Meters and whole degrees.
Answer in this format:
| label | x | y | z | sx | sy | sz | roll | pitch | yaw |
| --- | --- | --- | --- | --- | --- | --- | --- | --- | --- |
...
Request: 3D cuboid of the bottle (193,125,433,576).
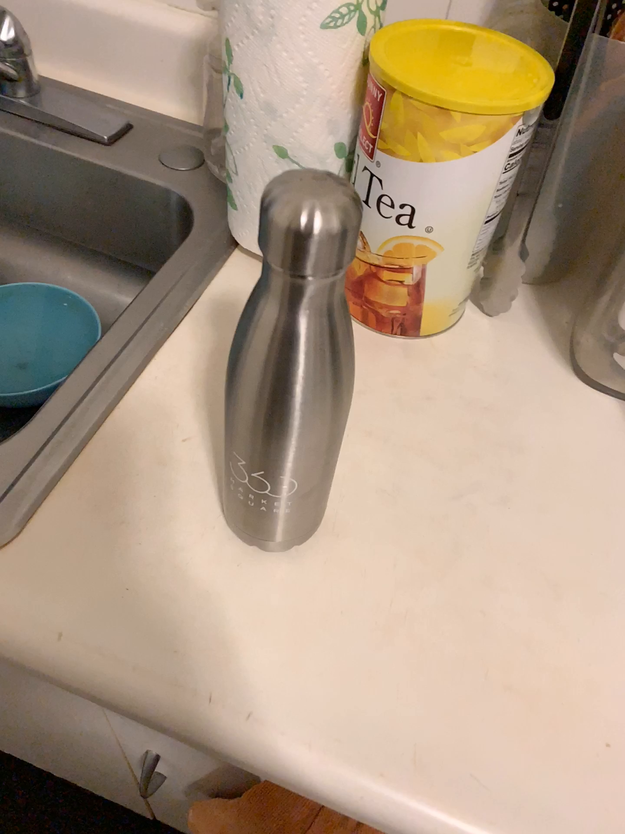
| label | x | y | z | sx | sy | sz | roll | pitch | yaw |
| --- | --- | --- | --- | --- | --- | --- | --- | --- | --- |
| bottle | -0.013 | -0.012 | 0.348 | 0.070 | 0.249 | 0.070 | 4 | 51 | -6 |
